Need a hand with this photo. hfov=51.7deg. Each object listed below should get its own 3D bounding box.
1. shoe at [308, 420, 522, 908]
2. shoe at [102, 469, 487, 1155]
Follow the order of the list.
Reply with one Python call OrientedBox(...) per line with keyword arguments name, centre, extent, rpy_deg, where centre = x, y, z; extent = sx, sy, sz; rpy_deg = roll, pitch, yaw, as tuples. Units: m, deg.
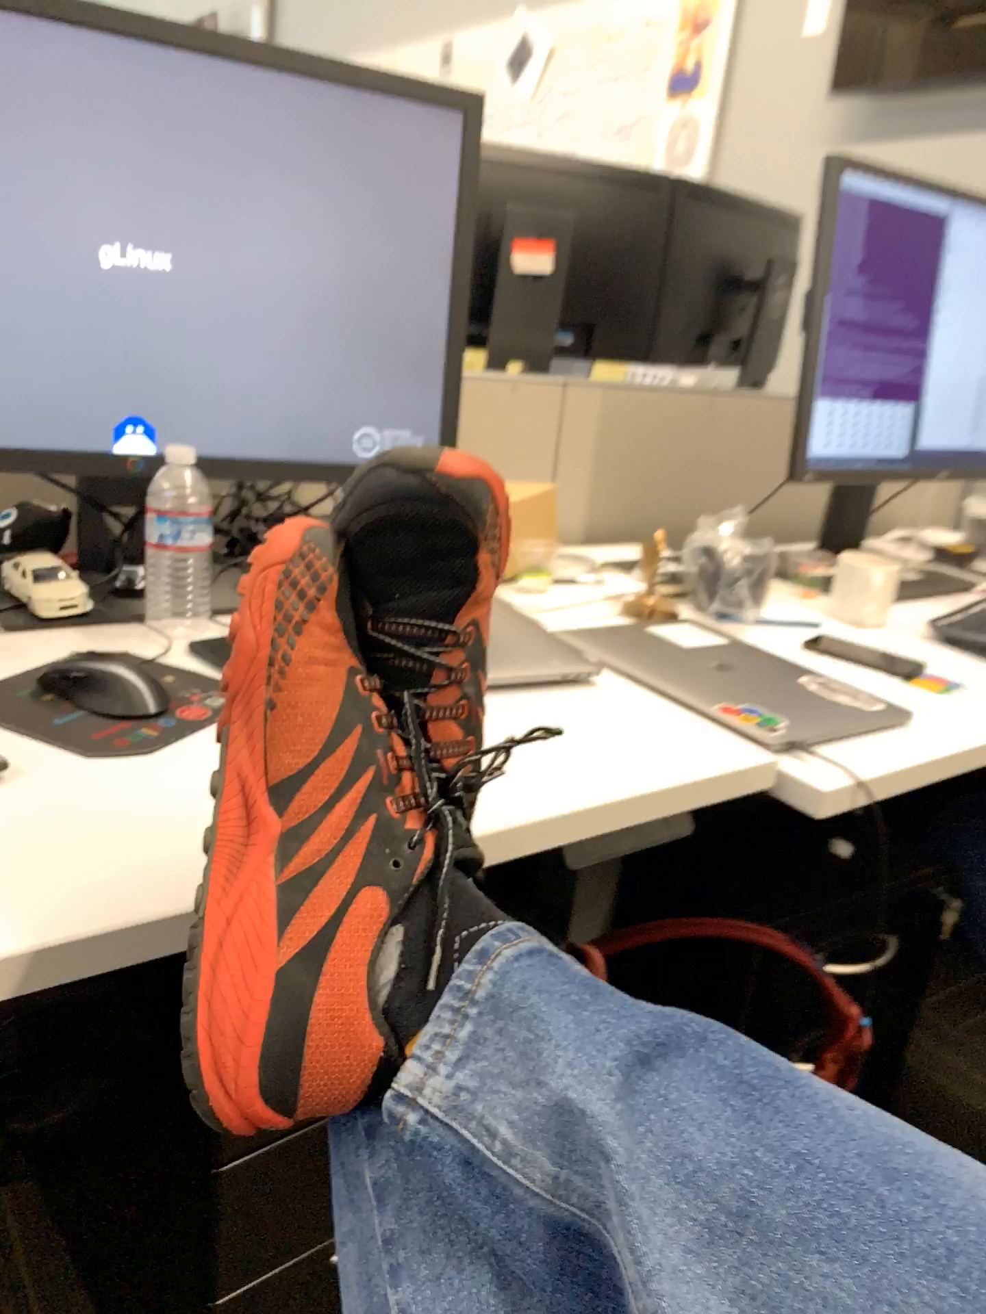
OrientedBox(name="shoe", centre=(-0.051, 0.008, 0.598), extent=(0.107, 0.271, 0.083), rpy_deg=(2, 21, -5))
OrientedBox(name="shoe", centre=(-0.081, 0.067, 0.487), extent=(0.132, 0.290, 0.091), rpy_deg=(5, -17, -2))
